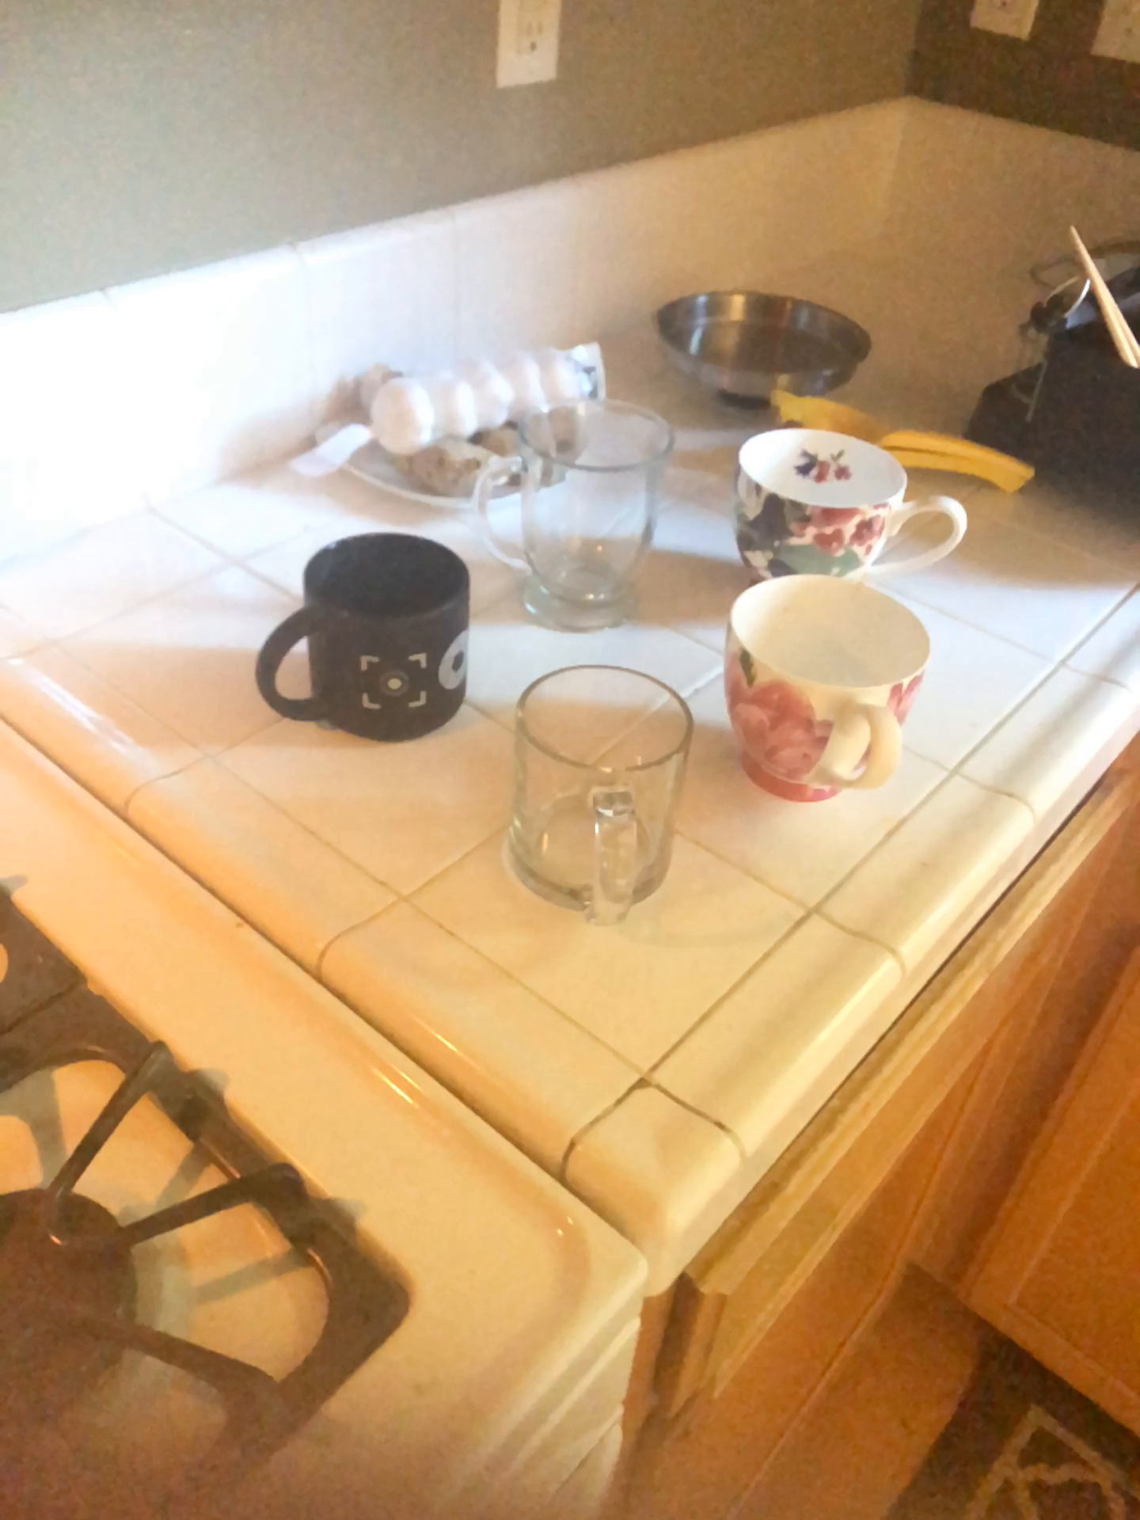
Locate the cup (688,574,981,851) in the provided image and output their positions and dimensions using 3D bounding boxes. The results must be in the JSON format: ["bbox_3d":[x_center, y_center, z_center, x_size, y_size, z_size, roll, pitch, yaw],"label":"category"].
[{"bbox_3d":[0.123,-0.026,0.623,0.100,0.069,0.131,0,40,-7],"label":"cup"}]

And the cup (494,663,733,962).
[{"bbox_3d":[0.015,0.022,0.601,0.090,0.079,0.121,-1,40,-8],"label":"cup"}]

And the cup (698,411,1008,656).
[{"bbox_3d":[0.181,-0.150,0.814,0.160,0.079,0.101,21,42,18],"label":"cup"}]

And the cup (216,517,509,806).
[{"bbox_3d":[-0.099,-0.051,0.619,0.111,0.079,0.080,-29,51,-35],"label":"cup"}]

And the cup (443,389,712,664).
[{"bbox_3d":[0.000,-0.141,0.750,0.120,0.109,0.101,-14,43,-23],"label":"cup"}]
